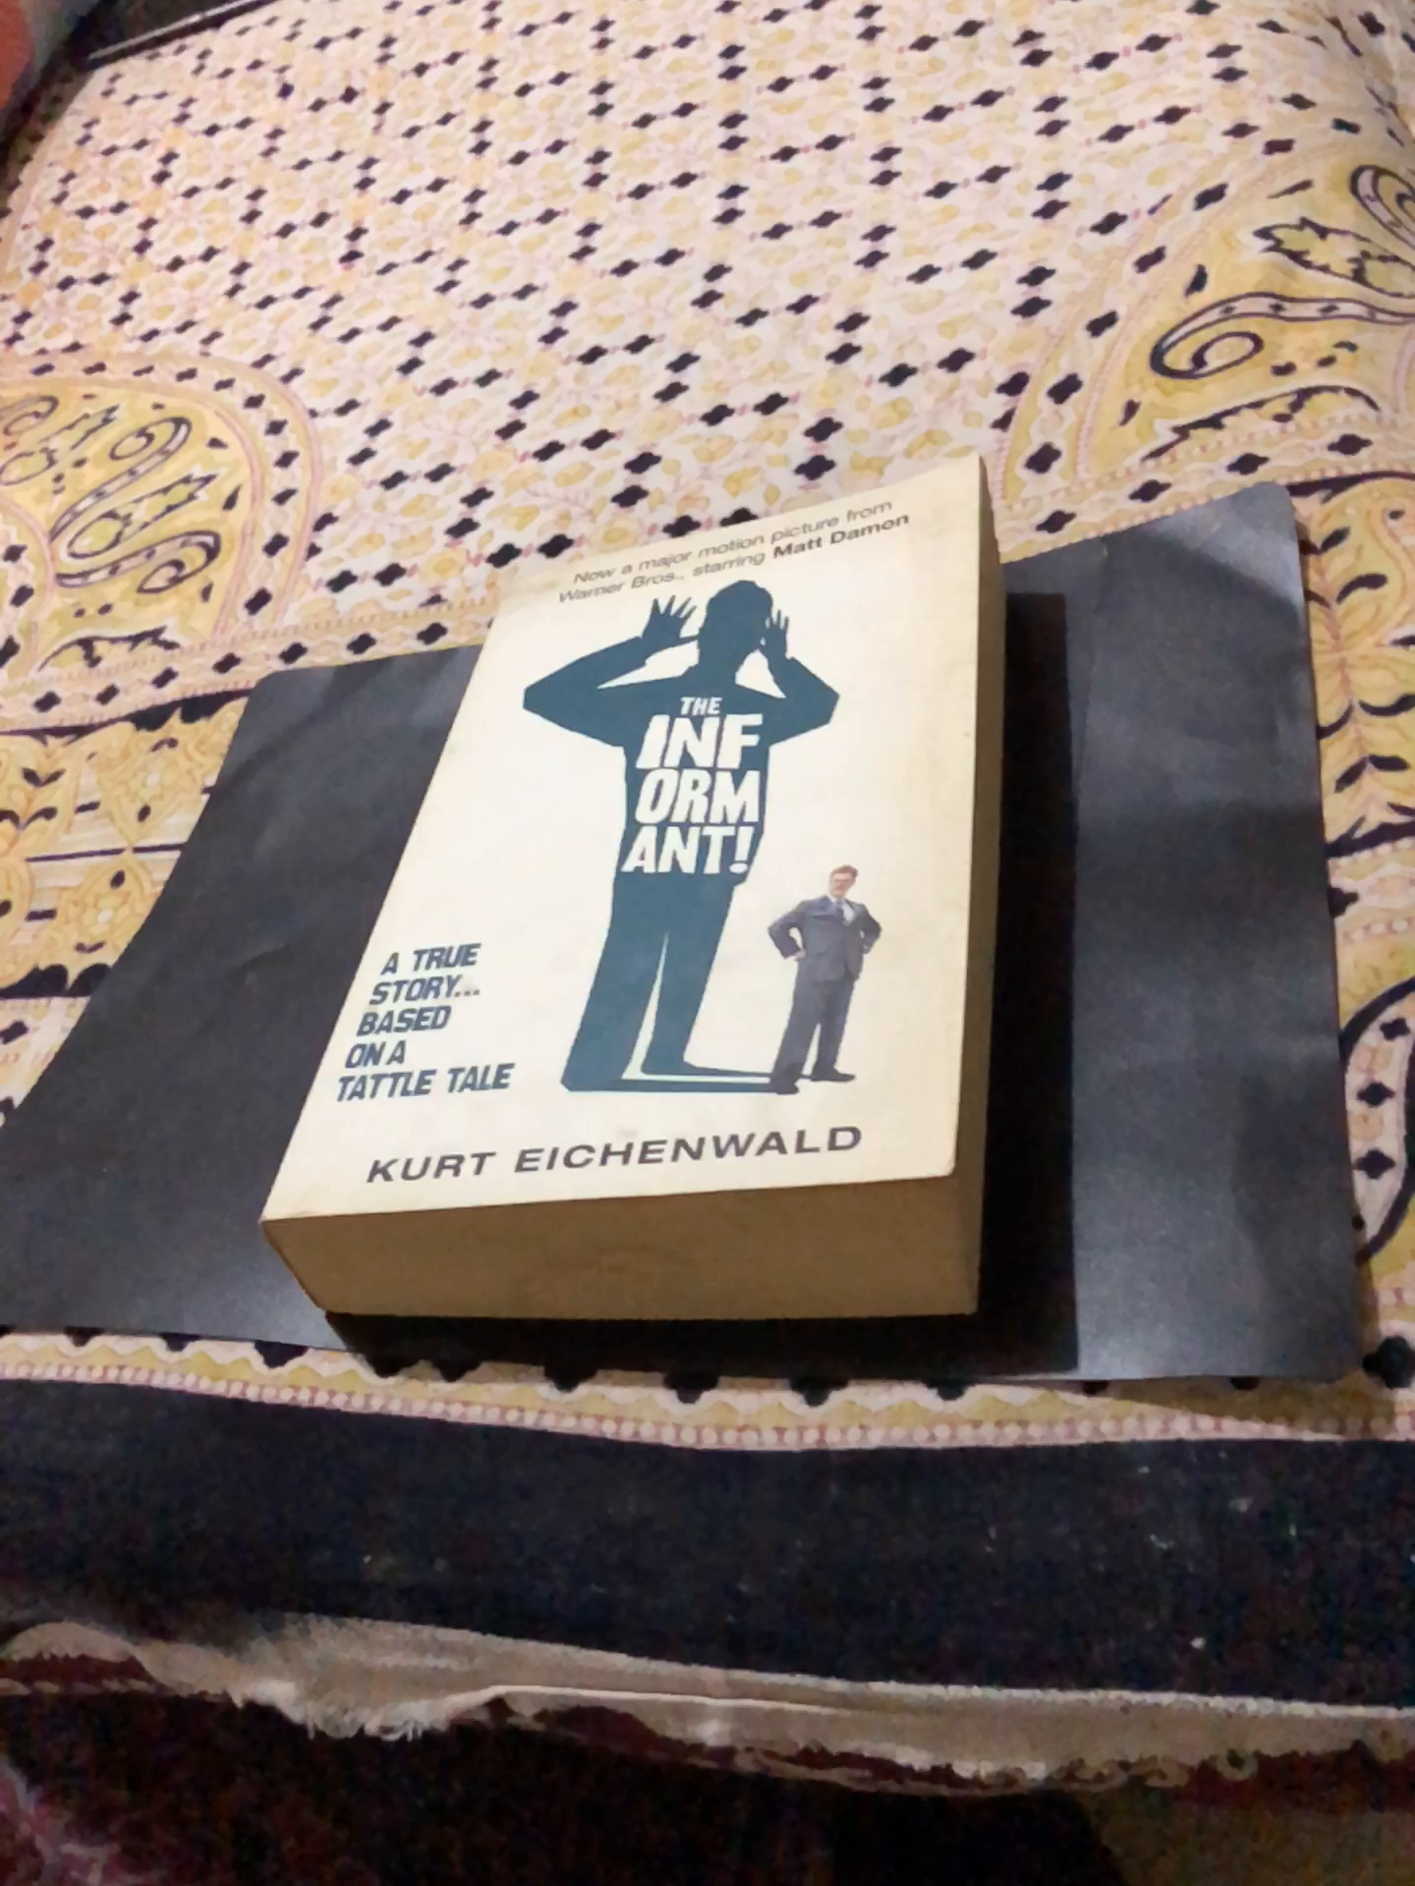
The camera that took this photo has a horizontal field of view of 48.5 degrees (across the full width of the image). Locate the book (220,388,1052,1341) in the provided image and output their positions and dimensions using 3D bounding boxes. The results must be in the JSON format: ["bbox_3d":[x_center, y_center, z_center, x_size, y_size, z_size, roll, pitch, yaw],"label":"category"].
[{"bbox_3d":[0.002,-0.028,0.356,0.140,0.050,0.230,-7,46,20],"label":"book"}]
